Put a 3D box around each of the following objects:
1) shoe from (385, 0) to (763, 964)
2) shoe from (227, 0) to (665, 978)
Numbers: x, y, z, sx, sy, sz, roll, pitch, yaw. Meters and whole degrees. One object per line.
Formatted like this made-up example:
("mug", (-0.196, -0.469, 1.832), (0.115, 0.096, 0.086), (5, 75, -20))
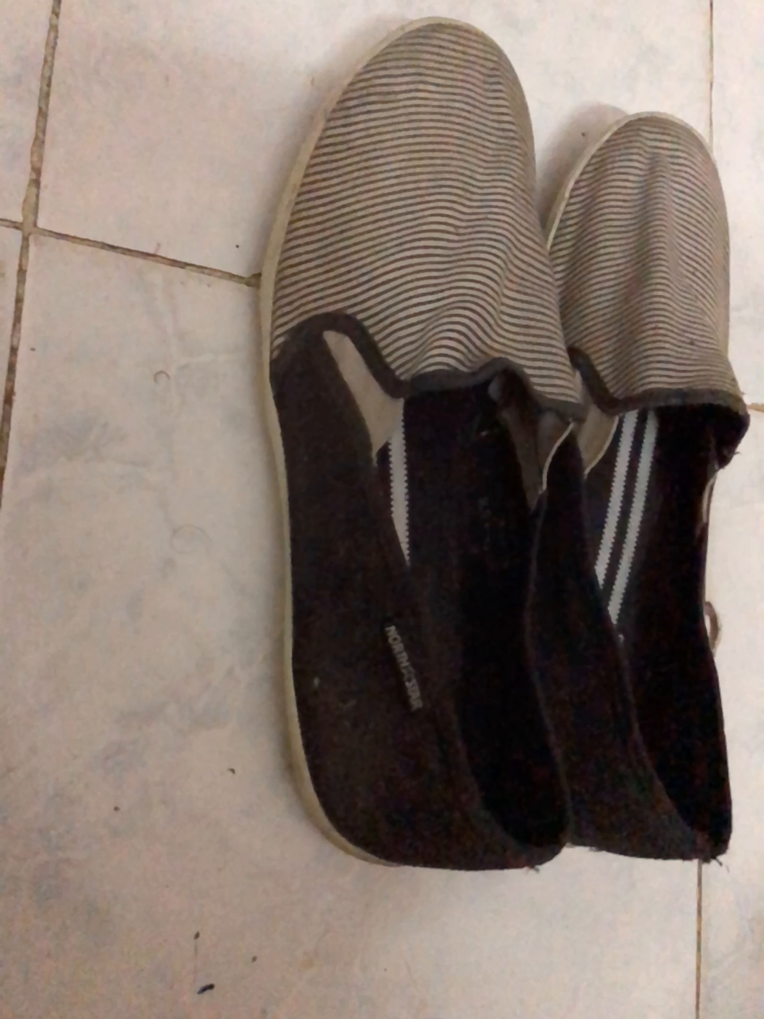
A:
("shoe", (0.096, -0.026, 0.325), (0.110, 0.090, 0.340), (14, 78, -26))
("shoe", (0.020, -0.040, 0.294), (0.110, 0.090, 0.330), (5, 82, -28))
